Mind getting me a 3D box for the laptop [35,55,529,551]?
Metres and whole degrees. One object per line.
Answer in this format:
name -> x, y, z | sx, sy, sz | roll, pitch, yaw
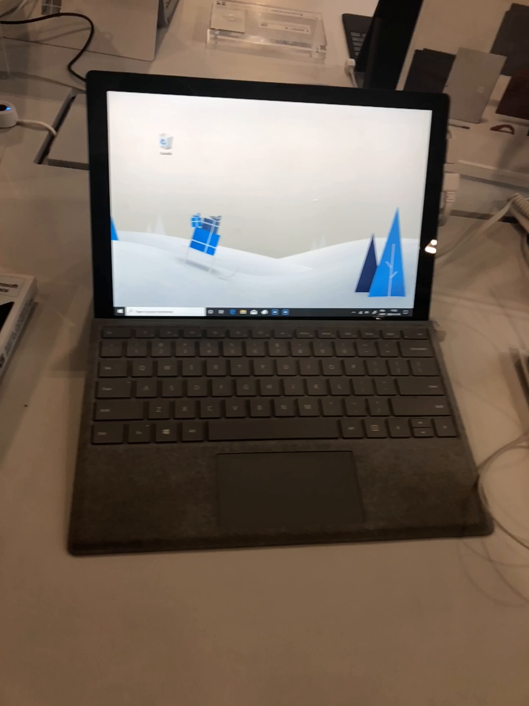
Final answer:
laptop -> 0.015, -0.047, 0.424 | 0.285, 0.150, 0.308 | 0, 53, -10
